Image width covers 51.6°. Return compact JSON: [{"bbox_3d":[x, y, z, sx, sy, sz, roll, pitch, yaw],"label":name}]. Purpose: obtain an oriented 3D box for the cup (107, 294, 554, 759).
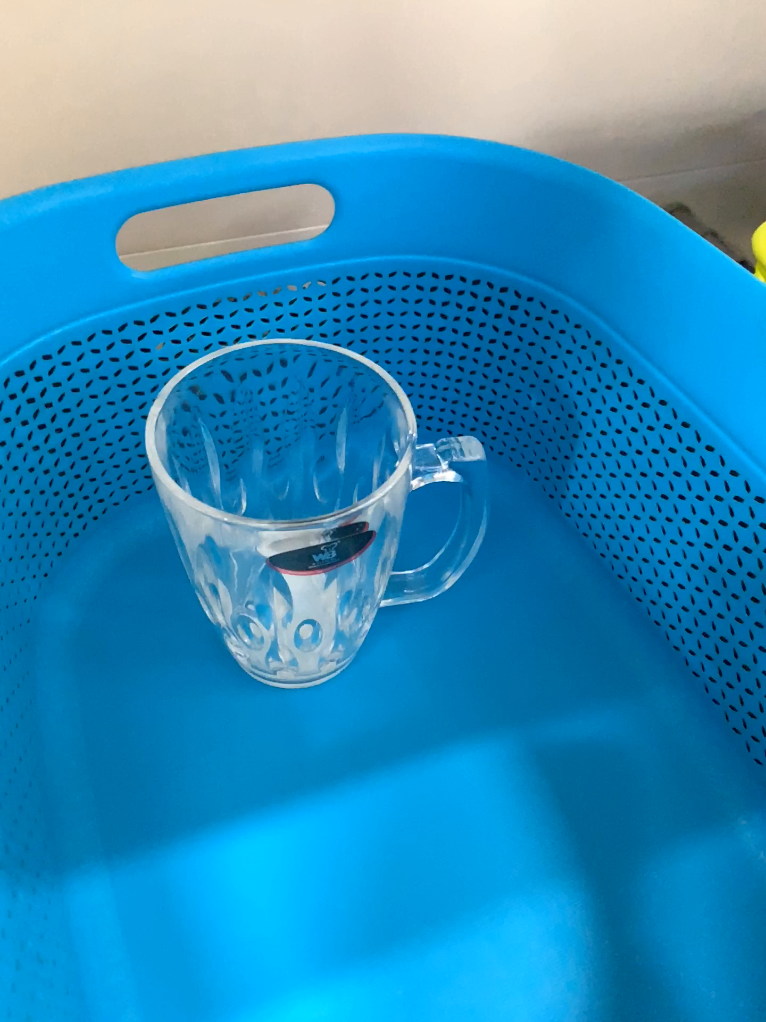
[{"bbox_3d":[-0.020,0.007,0.276,0.109,0.117,0.078,-18,53,-18],"label":"cup"}]
